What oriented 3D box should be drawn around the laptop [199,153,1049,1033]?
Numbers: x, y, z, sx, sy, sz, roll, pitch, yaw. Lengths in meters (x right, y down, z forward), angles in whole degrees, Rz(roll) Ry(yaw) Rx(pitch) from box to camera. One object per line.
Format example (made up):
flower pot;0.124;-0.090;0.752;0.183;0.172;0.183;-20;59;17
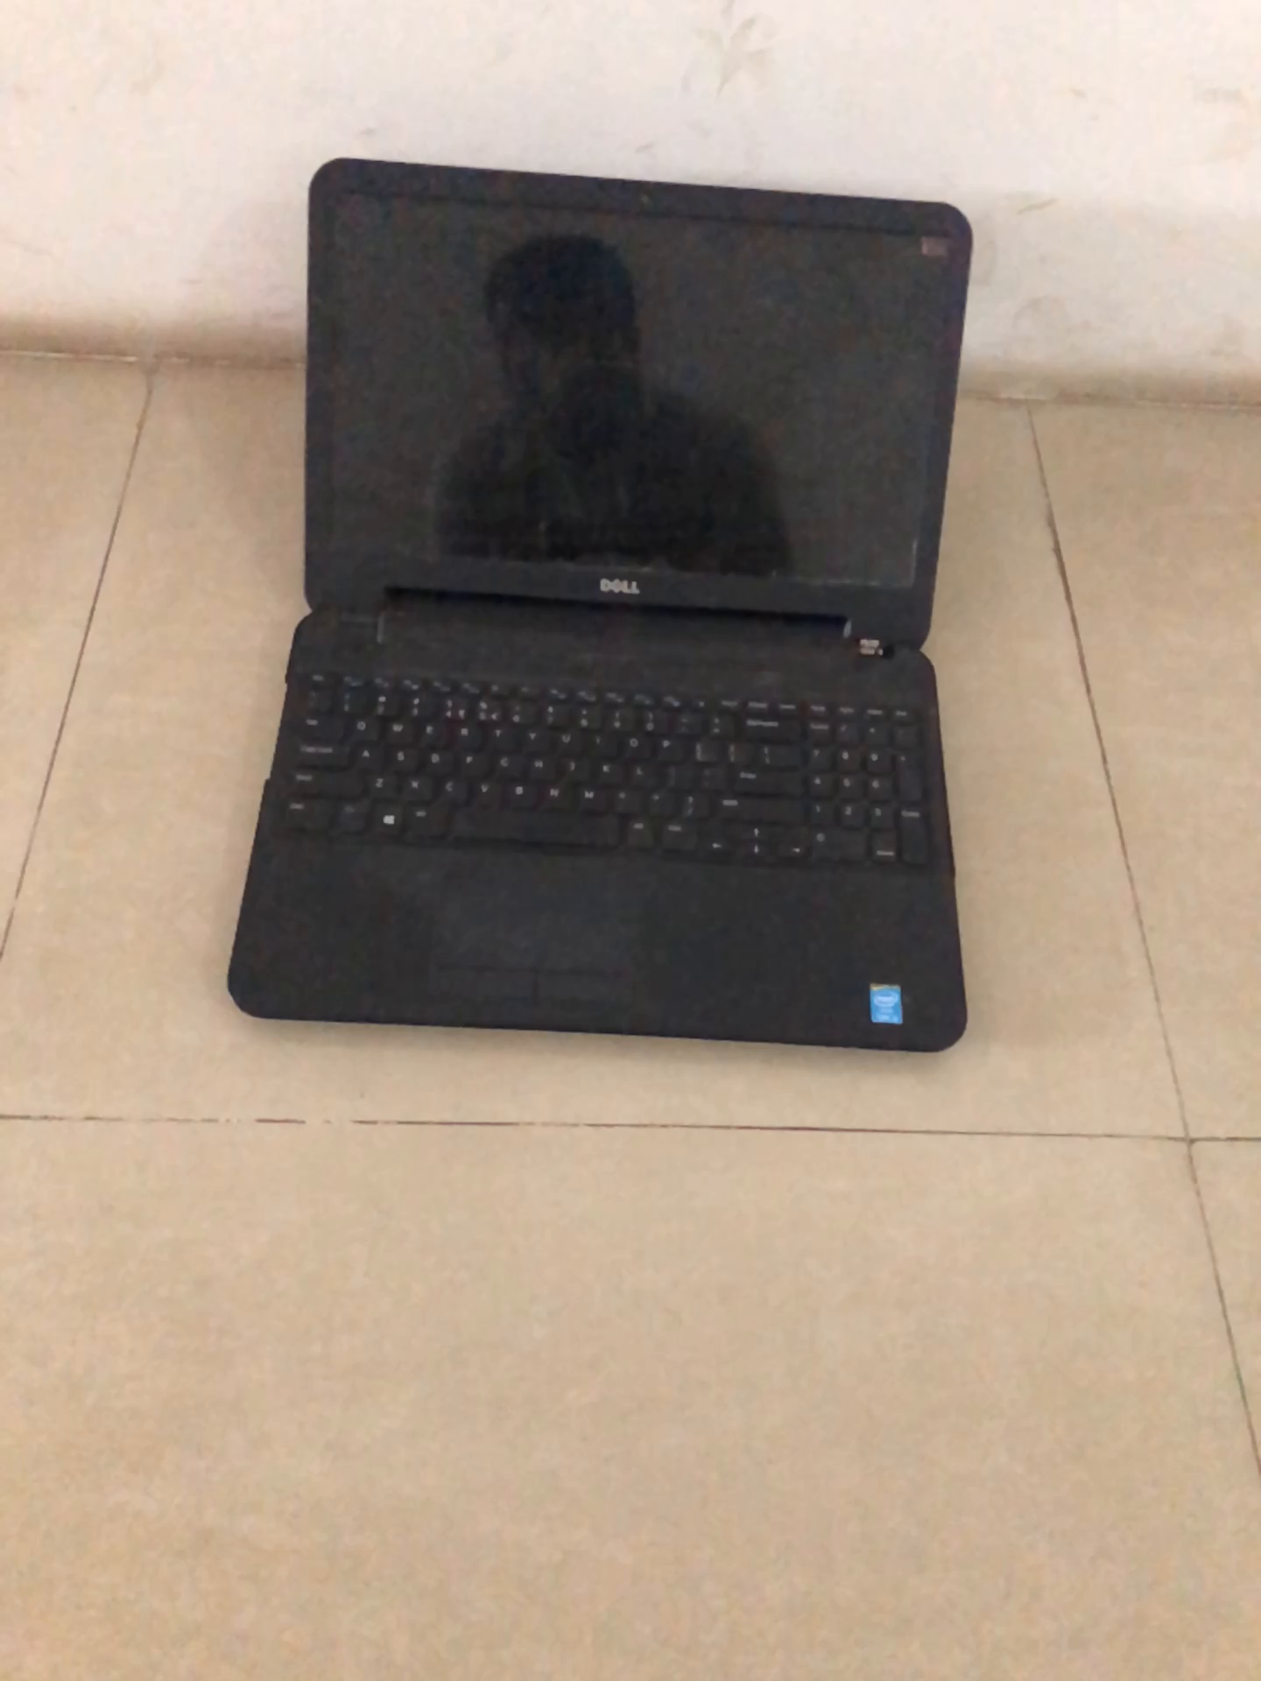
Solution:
laptop;-0.002;-0.134;0.699;0.322;0.166;0.410;3;58;-4
